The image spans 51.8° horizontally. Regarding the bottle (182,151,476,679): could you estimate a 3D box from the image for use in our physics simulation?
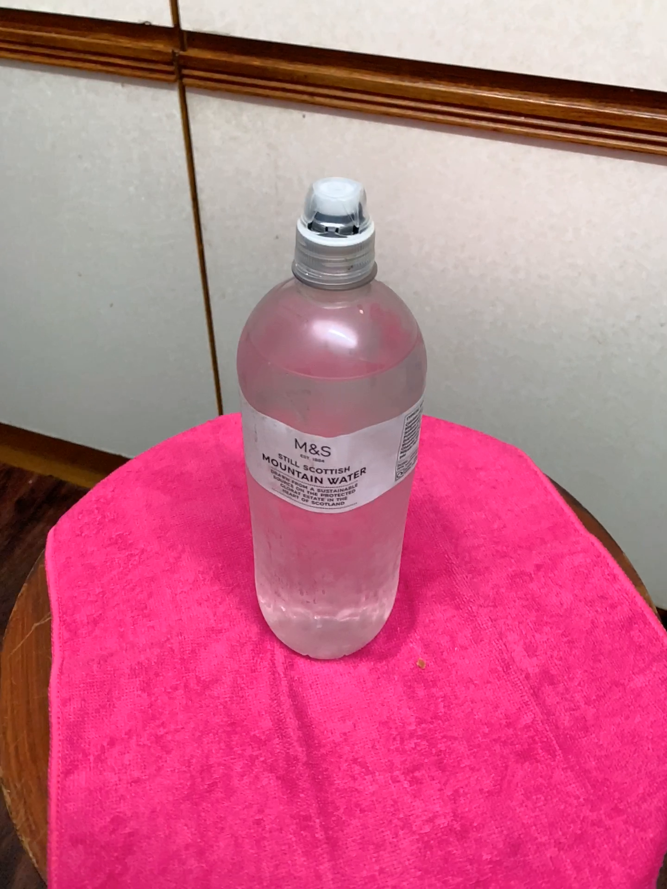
[{"bbox_3d":[-0.003,0.009,0.327,0.090,0.258,0.081,4,44,1],"label":"bottle"}]
